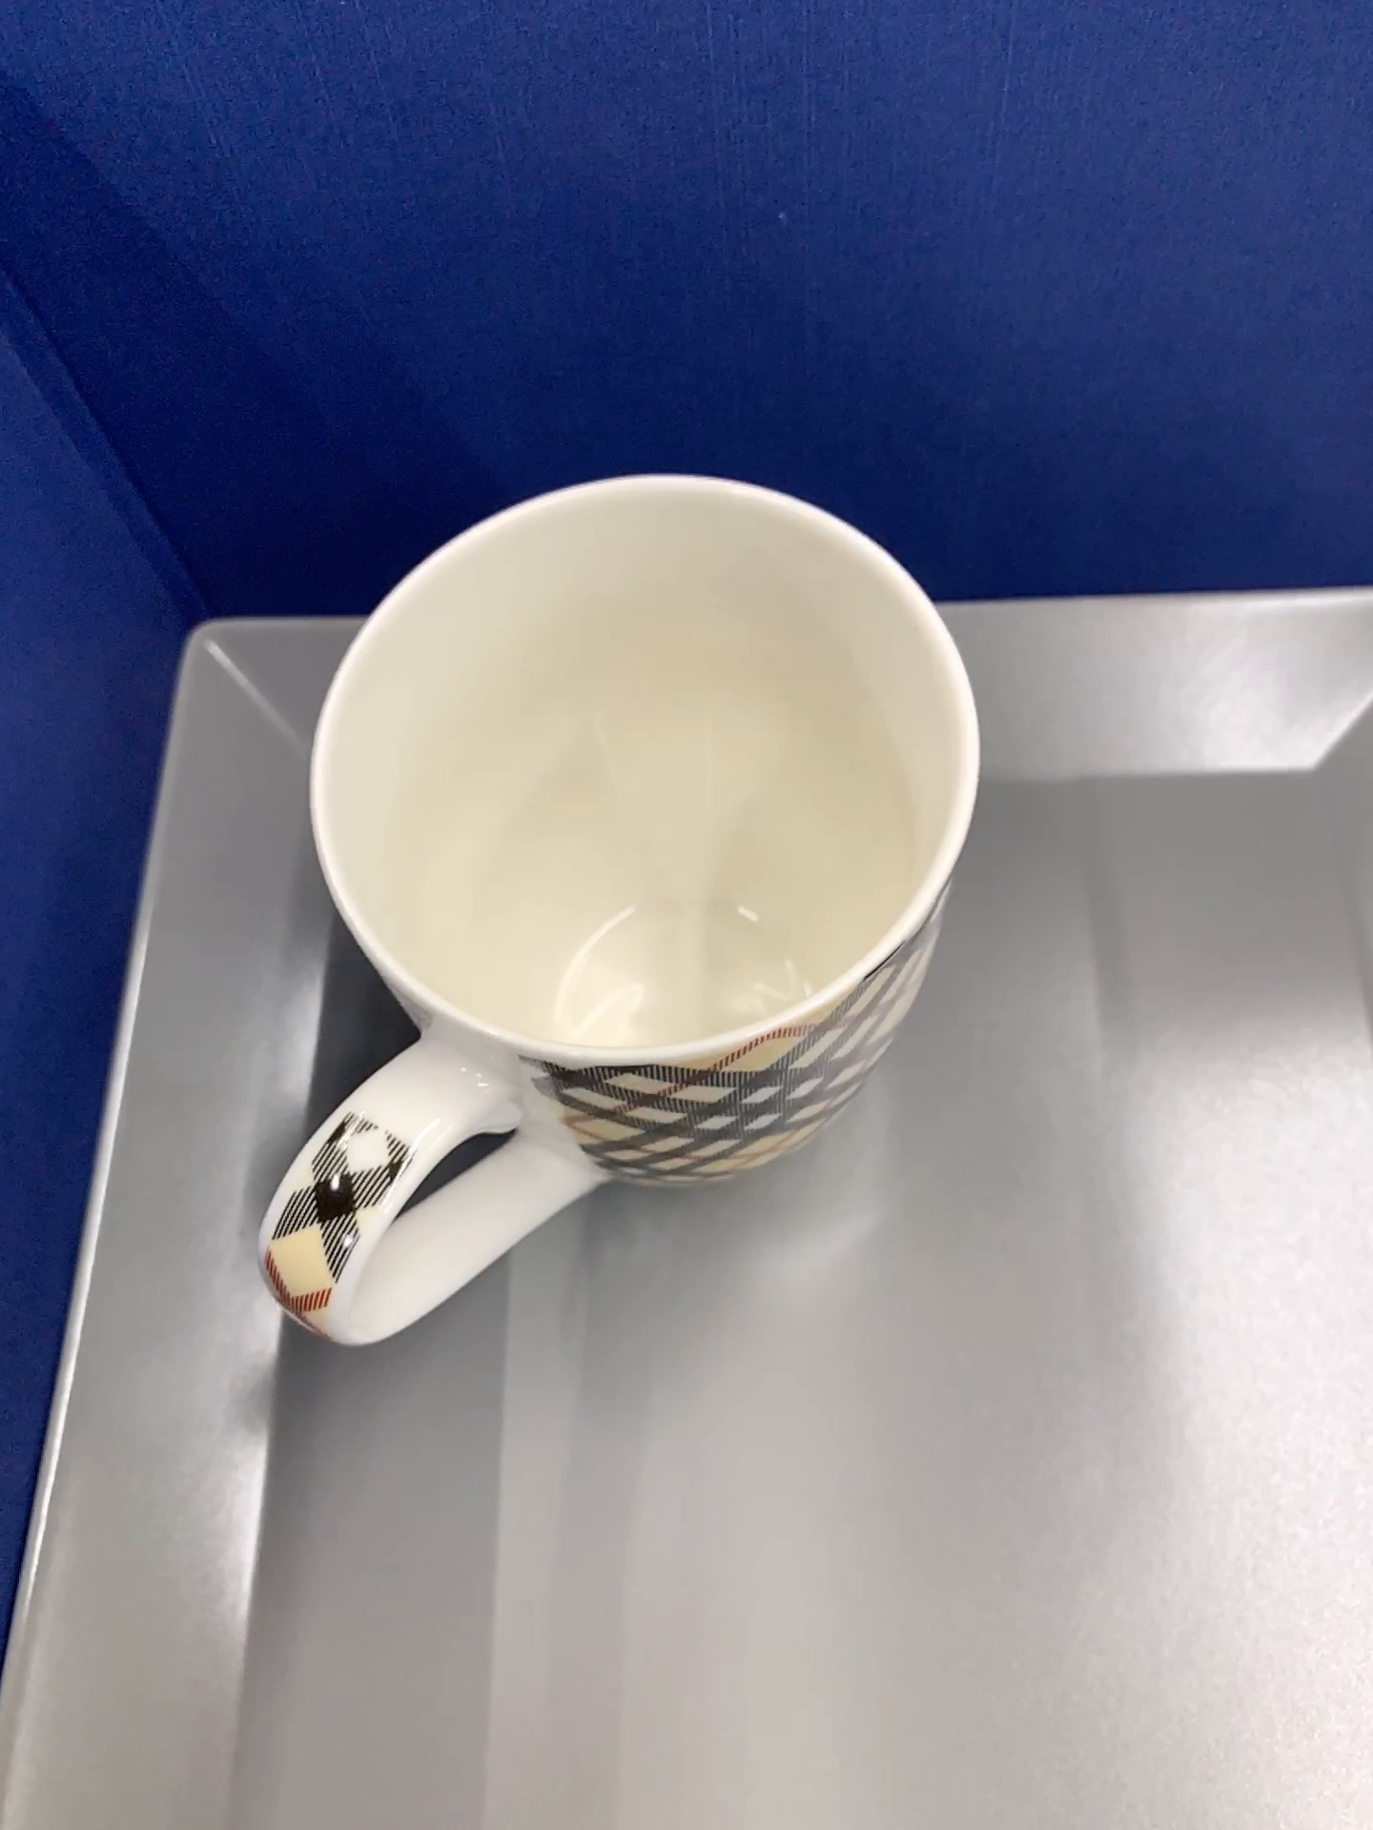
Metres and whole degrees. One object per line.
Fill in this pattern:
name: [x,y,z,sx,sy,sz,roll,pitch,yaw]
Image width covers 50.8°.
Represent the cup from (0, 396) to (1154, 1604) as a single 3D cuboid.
cup: [-0.012,0.017,0.215,0.091,0.104,0.120,34,70,20]
